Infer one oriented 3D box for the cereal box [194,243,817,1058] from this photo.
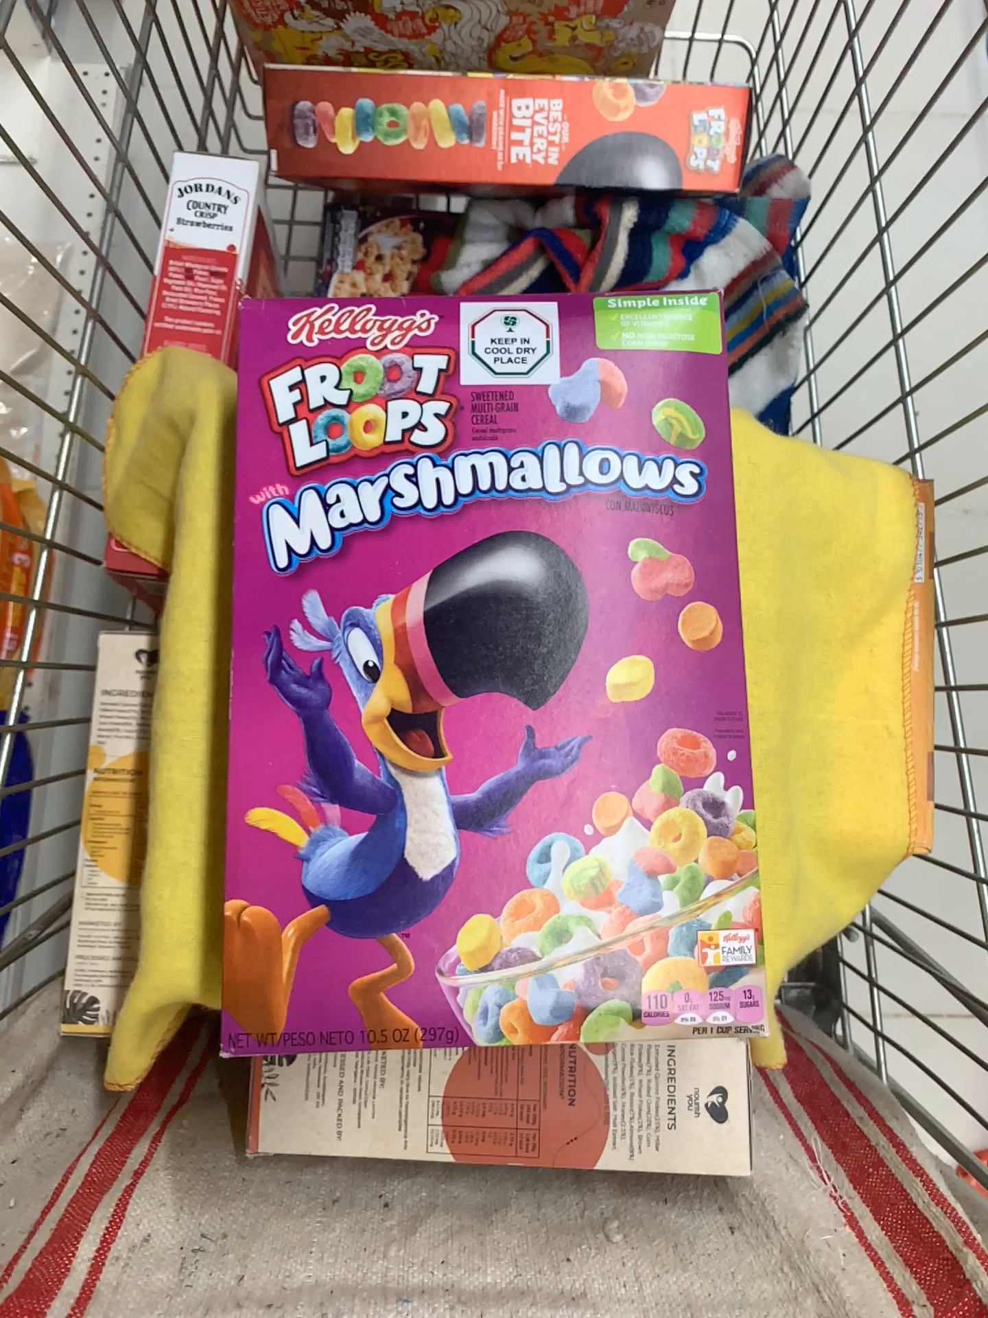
[{"bbox_3d":[0.001,-0.007,0.369,0.190,0.070,0.270,-1,80,-2],"label":"cereal box"}]
